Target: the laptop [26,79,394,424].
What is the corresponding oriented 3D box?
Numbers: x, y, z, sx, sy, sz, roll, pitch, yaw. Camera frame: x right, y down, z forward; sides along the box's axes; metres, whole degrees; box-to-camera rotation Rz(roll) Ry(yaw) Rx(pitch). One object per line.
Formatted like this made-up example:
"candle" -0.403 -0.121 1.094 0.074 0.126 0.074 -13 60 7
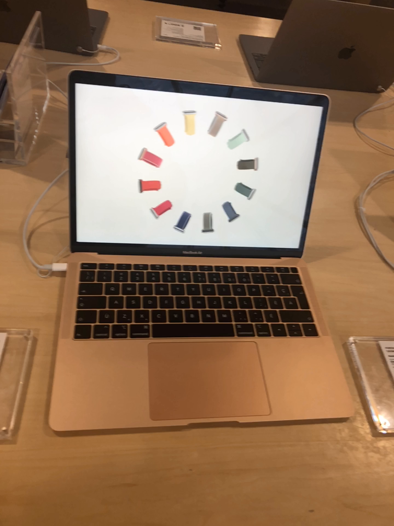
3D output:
"laptop" 0.013 -0.020 0.442 0.289 0.167 0.298 2 48 -11
